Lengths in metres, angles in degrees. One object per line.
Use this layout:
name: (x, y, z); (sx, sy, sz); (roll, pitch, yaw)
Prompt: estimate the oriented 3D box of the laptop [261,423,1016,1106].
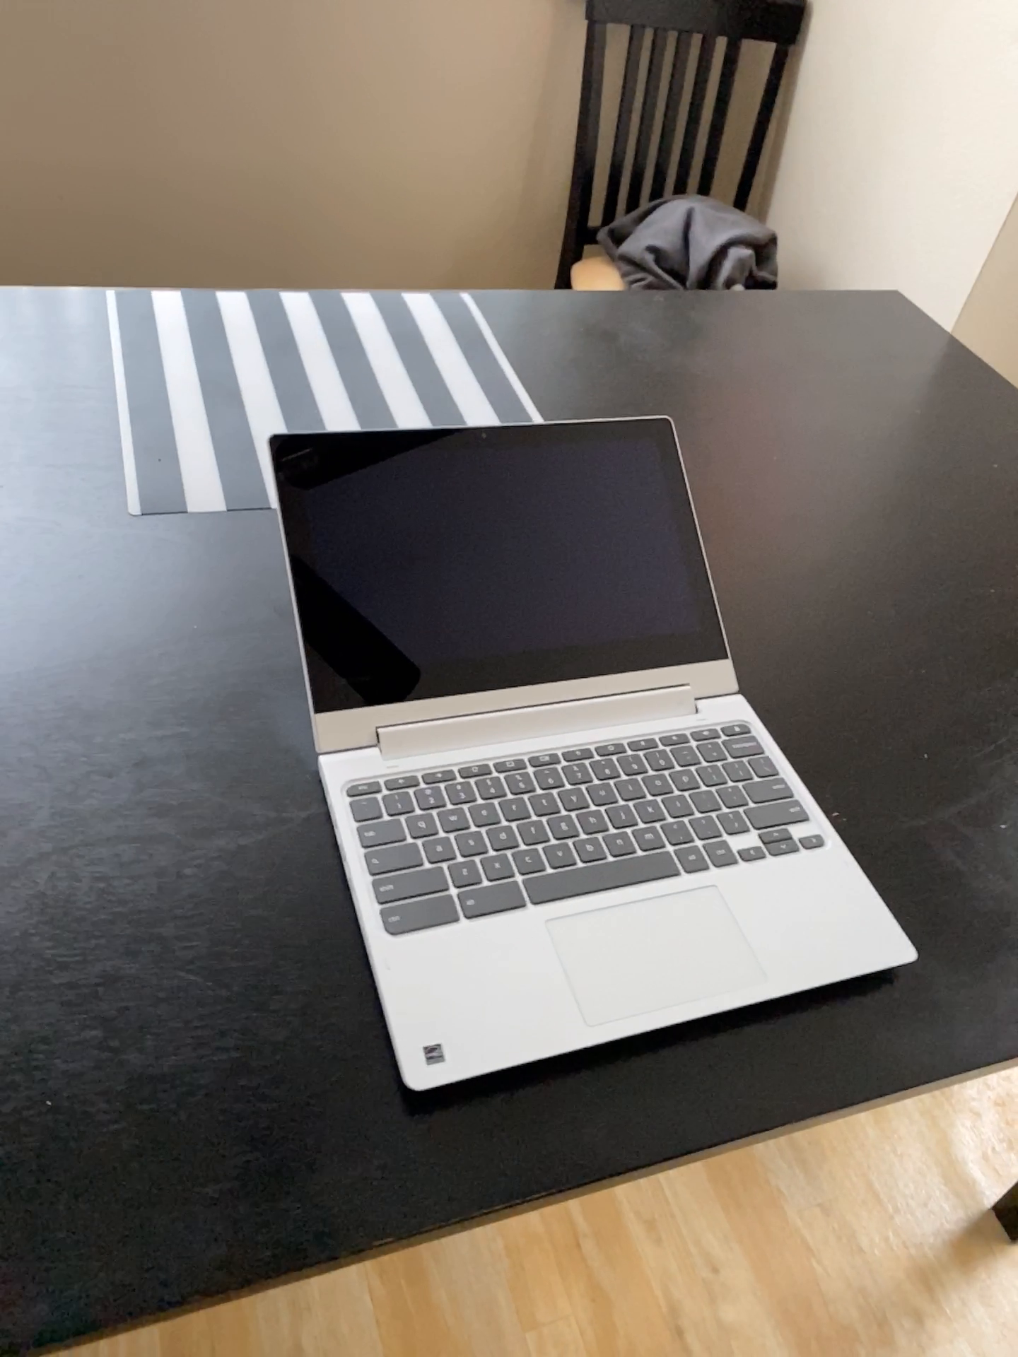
laptop: (0.034, 0.004, 0.595); (0.285, 0.106, 0.382); (-7, 46, -20)
